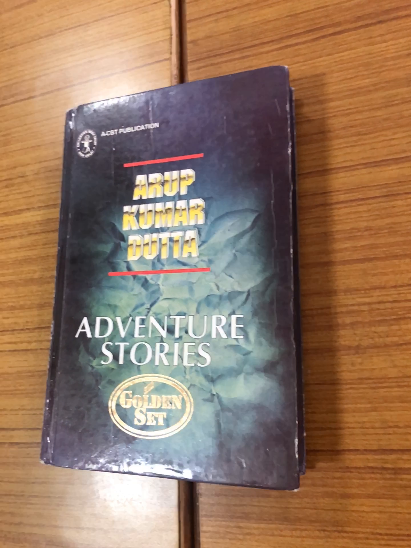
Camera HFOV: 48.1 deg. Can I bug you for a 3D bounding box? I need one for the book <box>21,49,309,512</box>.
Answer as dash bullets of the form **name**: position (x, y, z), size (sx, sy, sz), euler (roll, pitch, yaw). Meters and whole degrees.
- **book**: position (-0.023, 0.001, 0.255), size (0.145, 0.036, 0.218), euler (-3, 80, 18)
